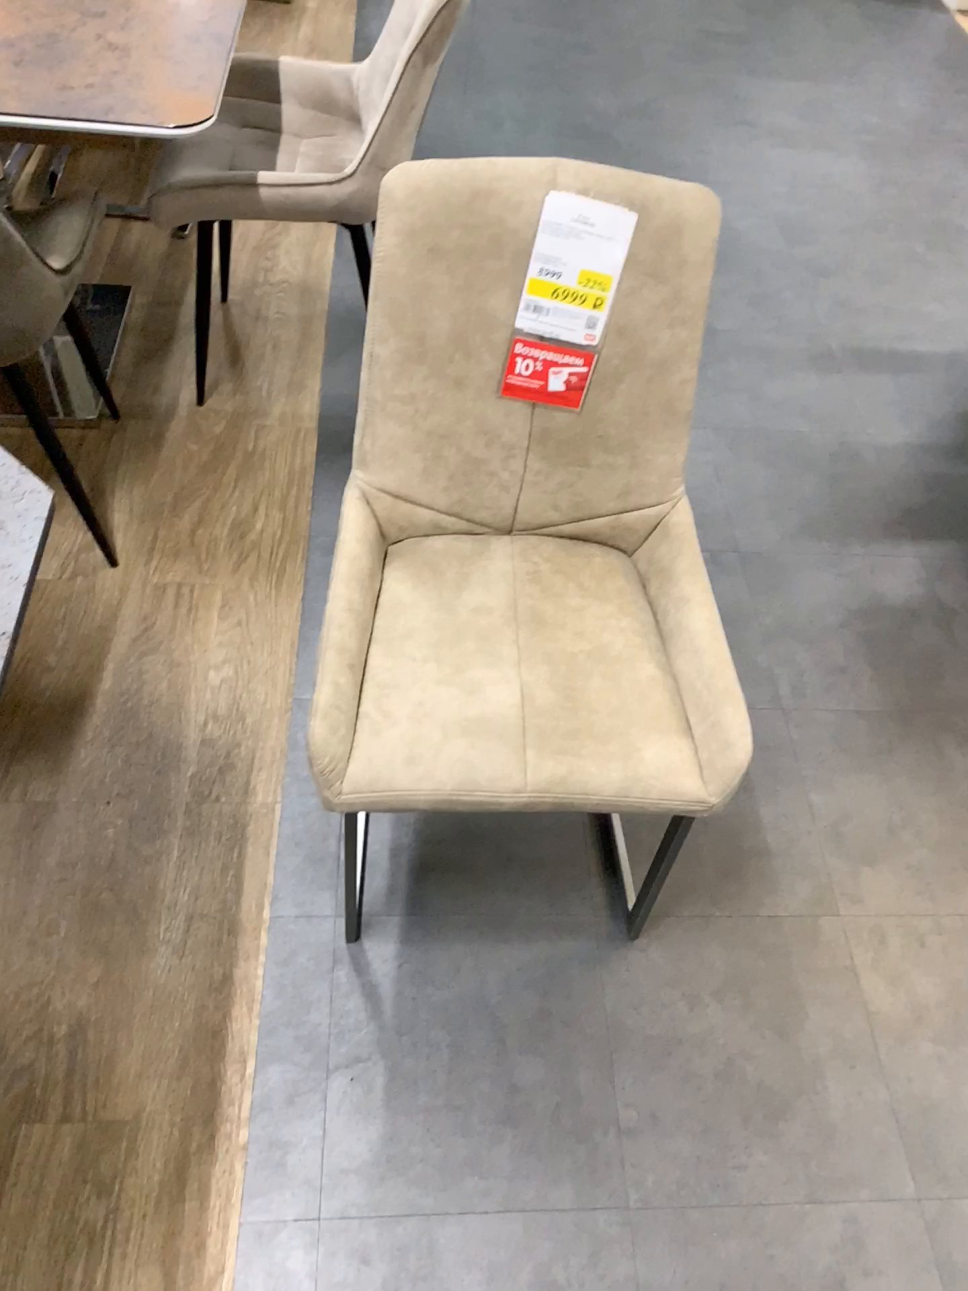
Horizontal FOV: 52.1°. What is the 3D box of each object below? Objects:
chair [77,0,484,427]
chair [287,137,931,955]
[{"bbox_3d":[-0.357,-0.951,2.015,0.623,0.842,0.482,2,51,-5],"label":"chair"},{"bbox_3d":[0.047,-0.059,1.293,0.510,0.888,0.586,0,51,-6],"label":"chair"}]
